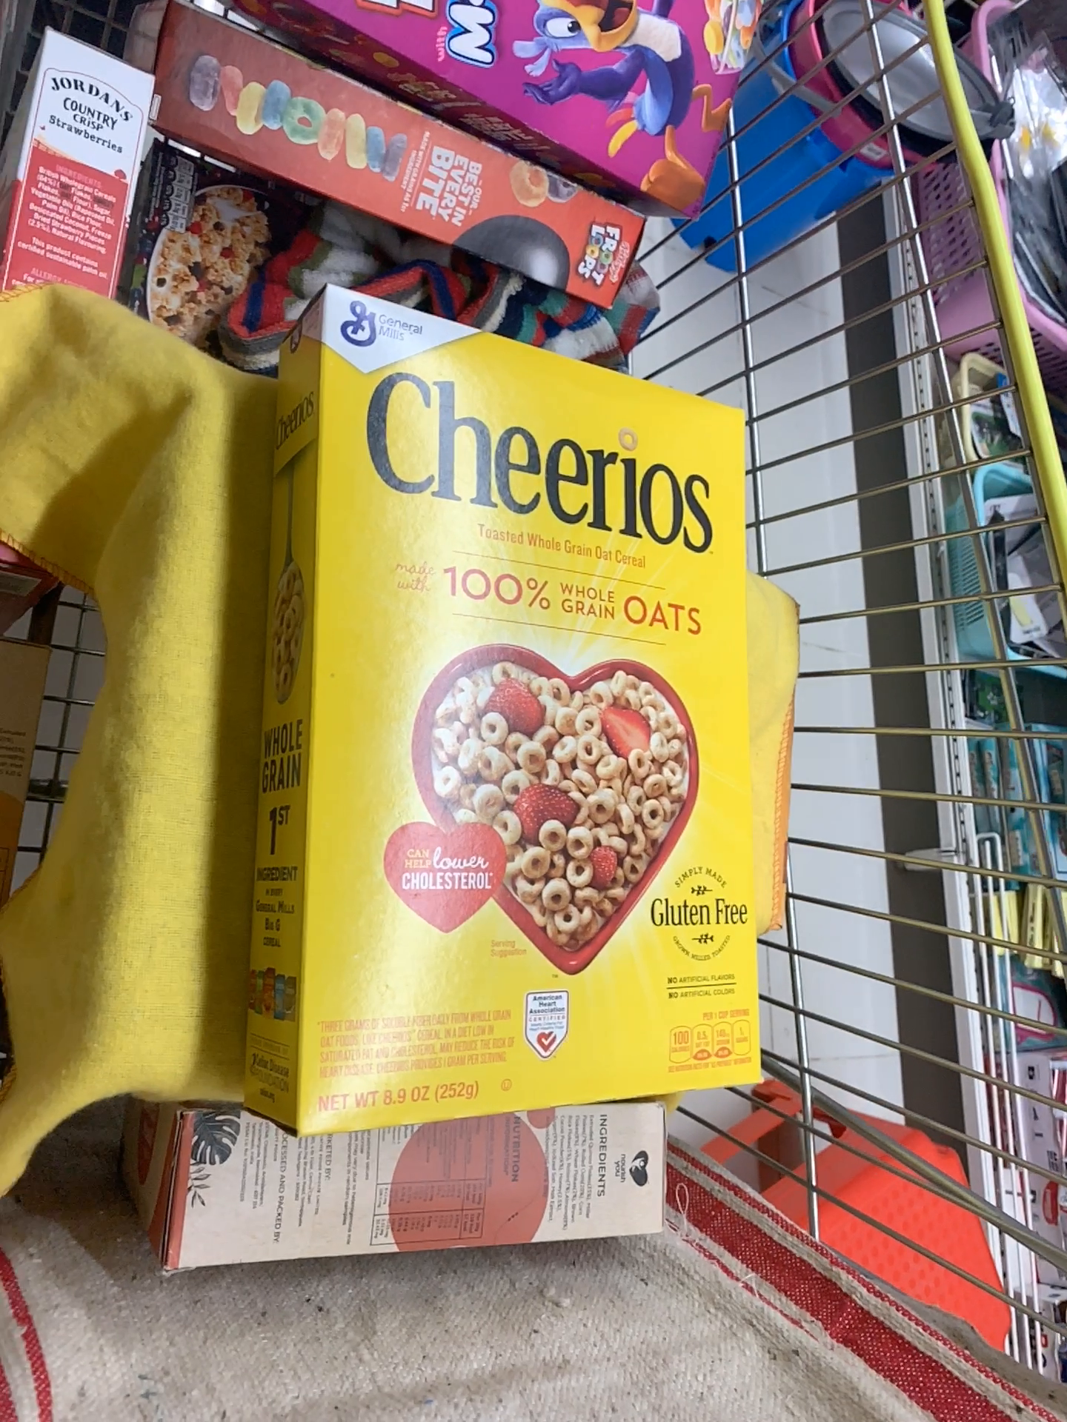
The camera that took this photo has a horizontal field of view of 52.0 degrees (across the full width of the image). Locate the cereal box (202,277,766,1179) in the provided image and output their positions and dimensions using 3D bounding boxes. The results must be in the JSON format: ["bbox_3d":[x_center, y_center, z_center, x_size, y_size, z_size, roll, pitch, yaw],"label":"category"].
[{"bbox_3d":[-0.011,0.008,0.399,0.191,0.060,0.270,5,80,-31],"label":"cereal box"}]
